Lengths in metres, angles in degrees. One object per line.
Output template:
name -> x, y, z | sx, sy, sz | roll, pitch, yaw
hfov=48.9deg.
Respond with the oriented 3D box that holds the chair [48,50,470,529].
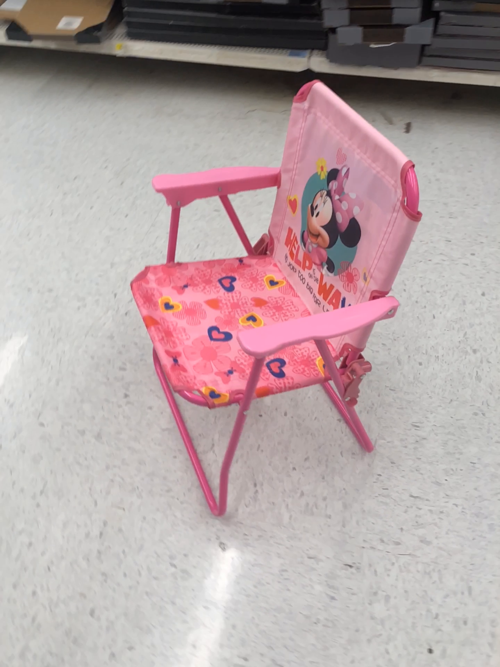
chair -> -0.008, -0.044, 0.781 | 0.340, 0.489, 0.361 | -19, 52, -13
